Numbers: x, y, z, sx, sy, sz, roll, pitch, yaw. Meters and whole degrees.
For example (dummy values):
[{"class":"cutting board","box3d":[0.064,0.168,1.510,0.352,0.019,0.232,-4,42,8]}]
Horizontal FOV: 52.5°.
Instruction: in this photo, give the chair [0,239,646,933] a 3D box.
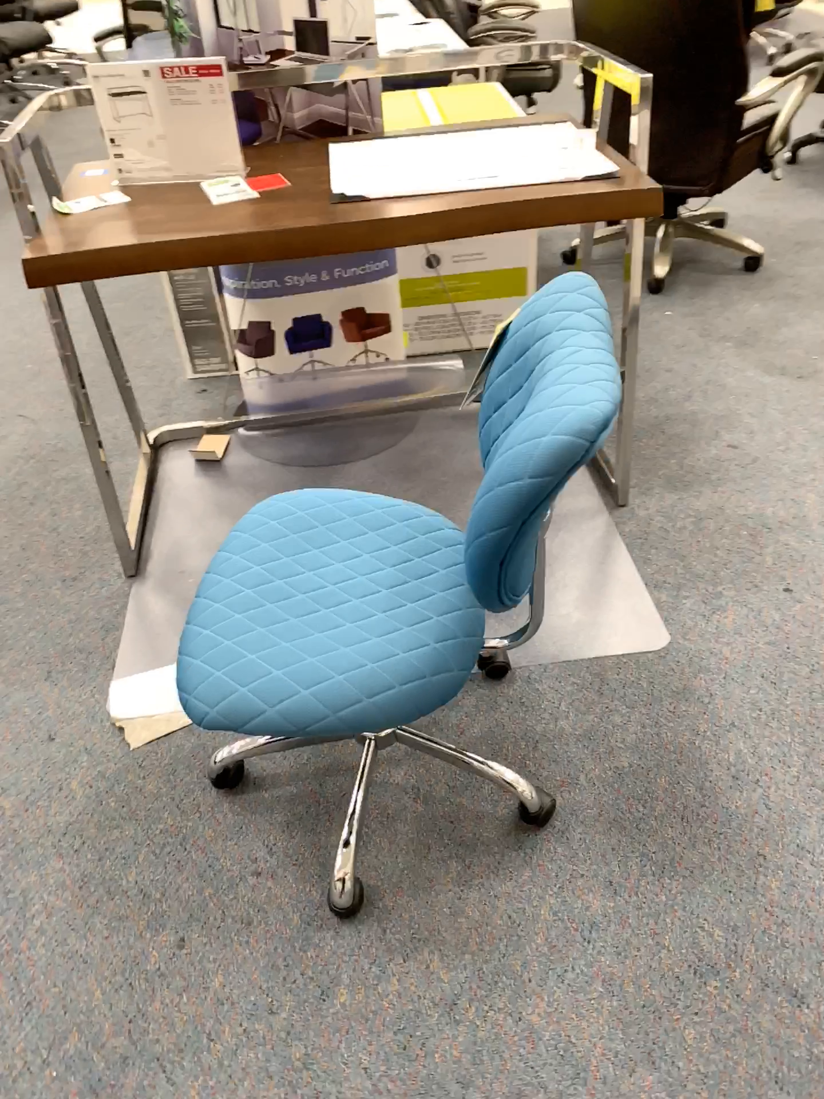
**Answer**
[{"class":"chair","box3d":[-0.073,0.051,1.223,0.664,0.775,0.601,1,40,7]}]
